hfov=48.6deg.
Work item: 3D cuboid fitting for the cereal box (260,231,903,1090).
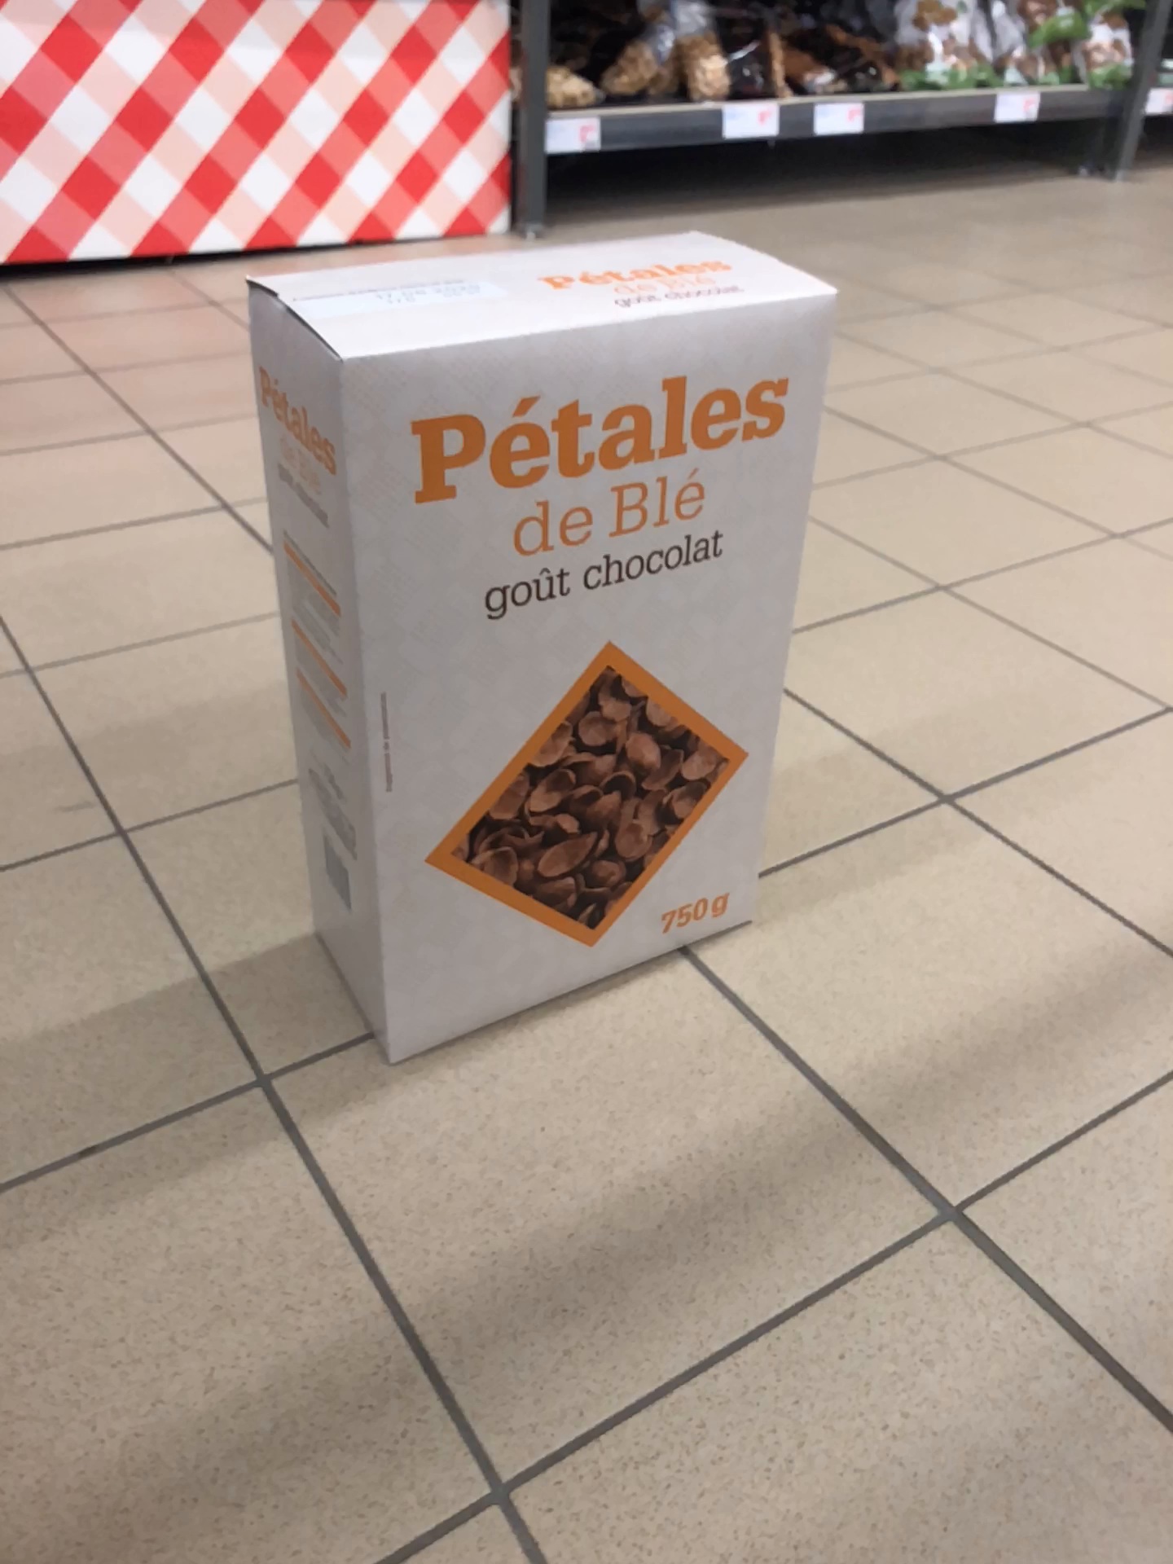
[{"bbox_3d":[-0.005,-0.048,0.512,0.191,0.288,0.100,-16,38,-26],"label":"cereal box"}]
